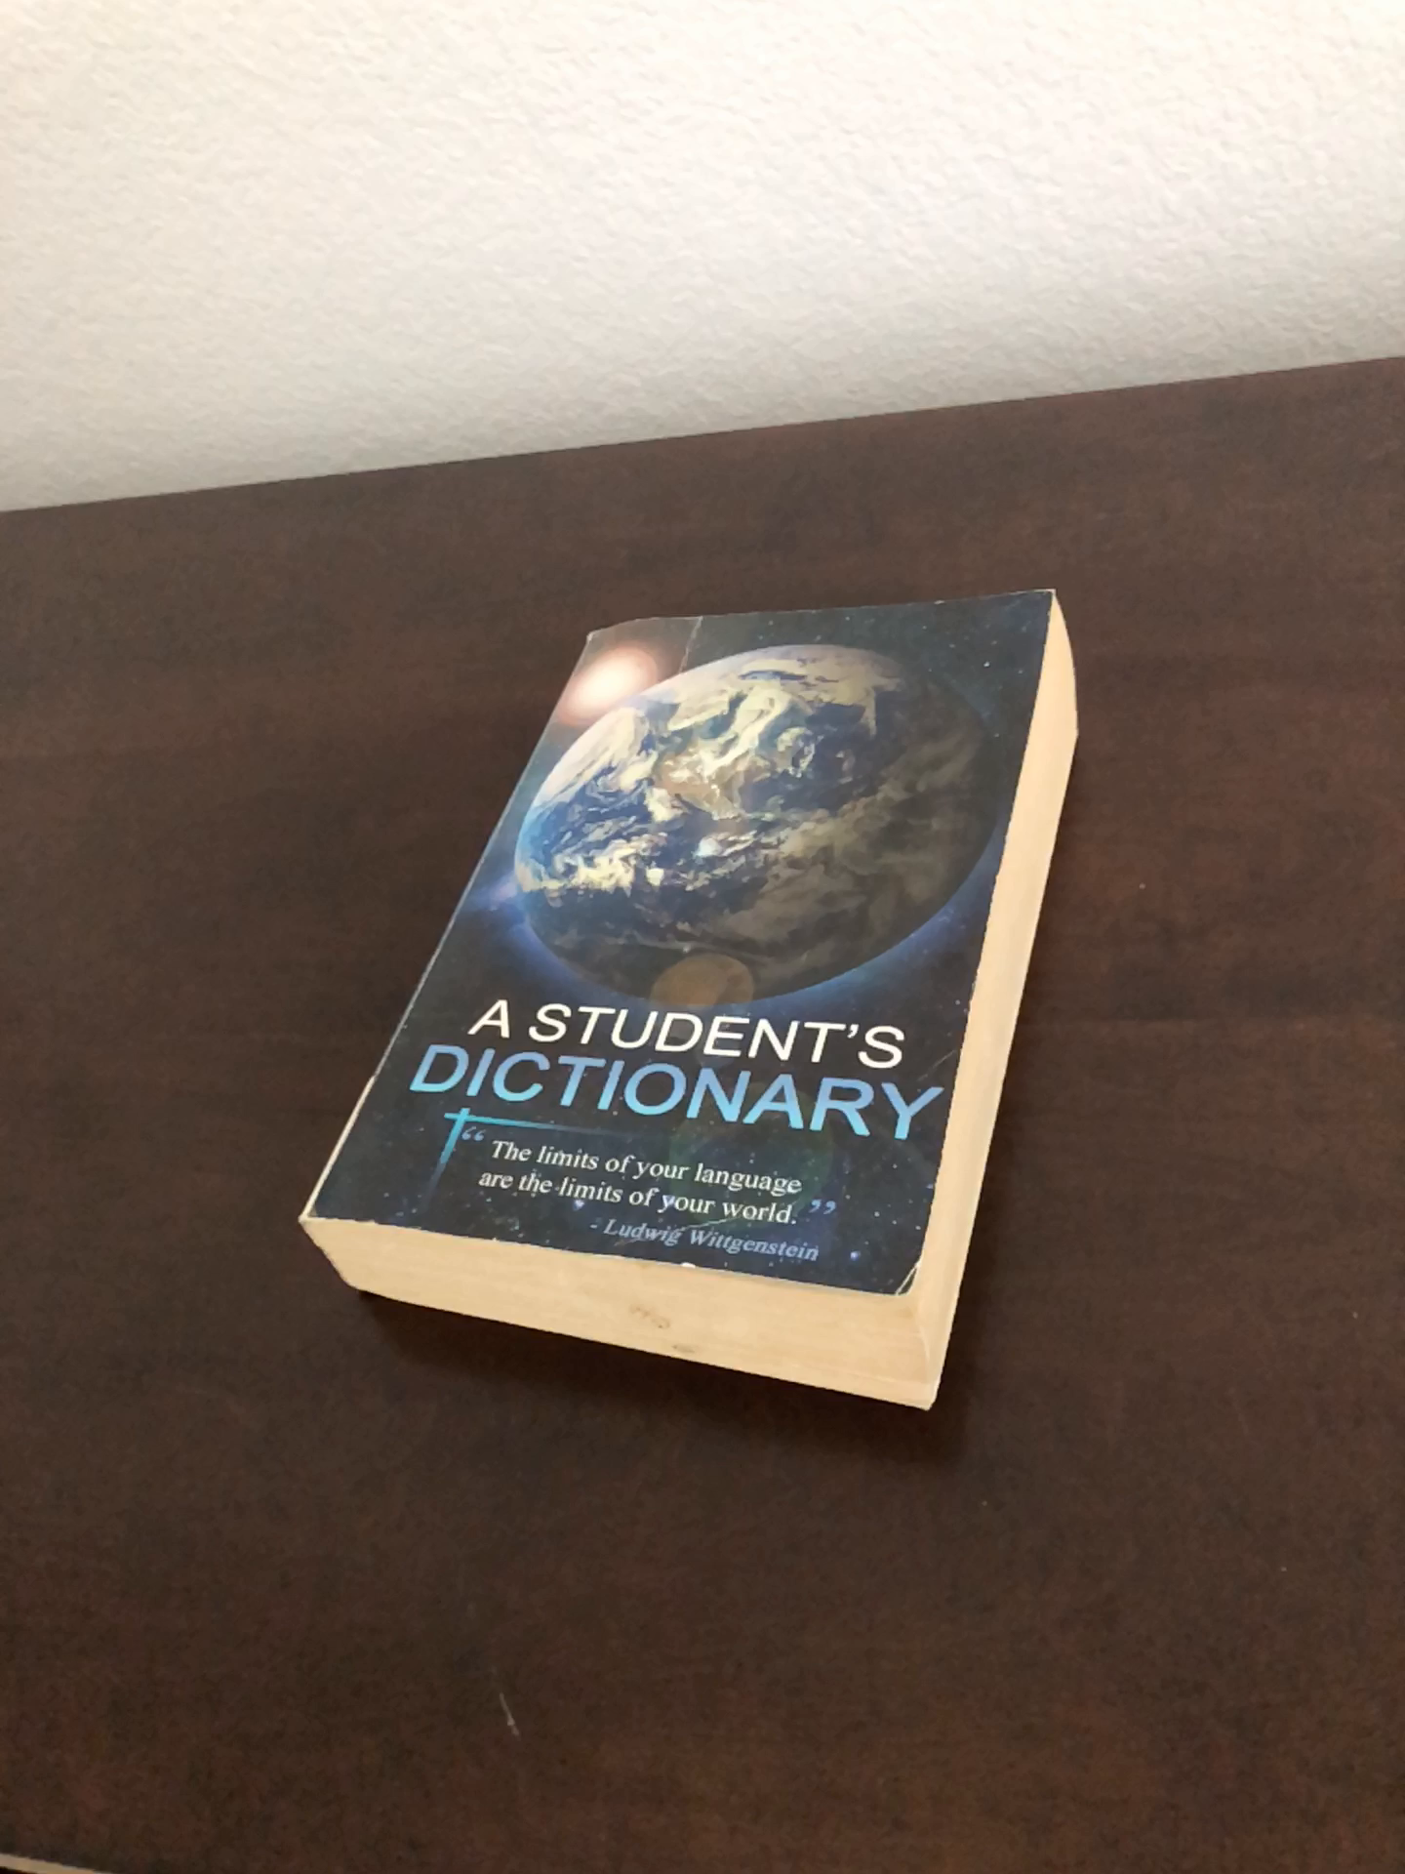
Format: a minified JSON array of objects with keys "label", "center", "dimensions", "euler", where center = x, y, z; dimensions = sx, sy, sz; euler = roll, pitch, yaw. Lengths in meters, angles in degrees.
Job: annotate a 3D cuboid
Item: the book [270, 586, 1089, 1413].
[{"label":"book","center":[0.006,0.001,0.376],"dimensions":[0.140,0.040,0.202],"euler":[0,50,25]}]
